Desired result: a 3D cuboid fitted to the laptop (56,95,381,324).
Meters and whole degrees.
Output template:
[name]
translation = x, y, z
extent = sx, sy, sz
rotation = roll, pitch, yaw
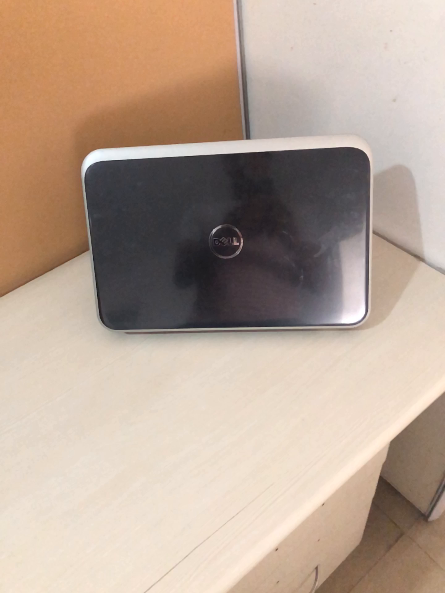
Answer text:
[laptop]
translation = 0.010, -0.119, 0.672
extent = 0.347, 0.192, 0.241
rotation = -1, 46, 5
